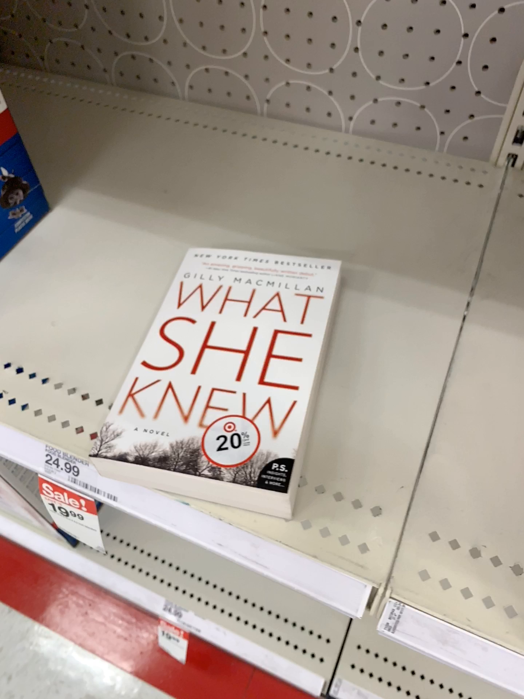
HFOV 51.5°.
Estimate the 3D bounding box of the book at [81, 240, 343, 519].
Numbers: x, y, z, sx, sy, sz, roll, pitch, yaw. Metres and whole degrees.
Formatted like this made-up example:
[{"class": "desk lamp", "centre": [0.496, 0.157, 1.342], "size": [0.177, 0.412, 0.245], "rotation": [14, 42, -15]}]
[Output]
[{"class": "book", "centre": [-0.022, 0.007, 0.394], "size": [0.130, 0.041, 0.198], "rotation": [8, 52, 13]}]
